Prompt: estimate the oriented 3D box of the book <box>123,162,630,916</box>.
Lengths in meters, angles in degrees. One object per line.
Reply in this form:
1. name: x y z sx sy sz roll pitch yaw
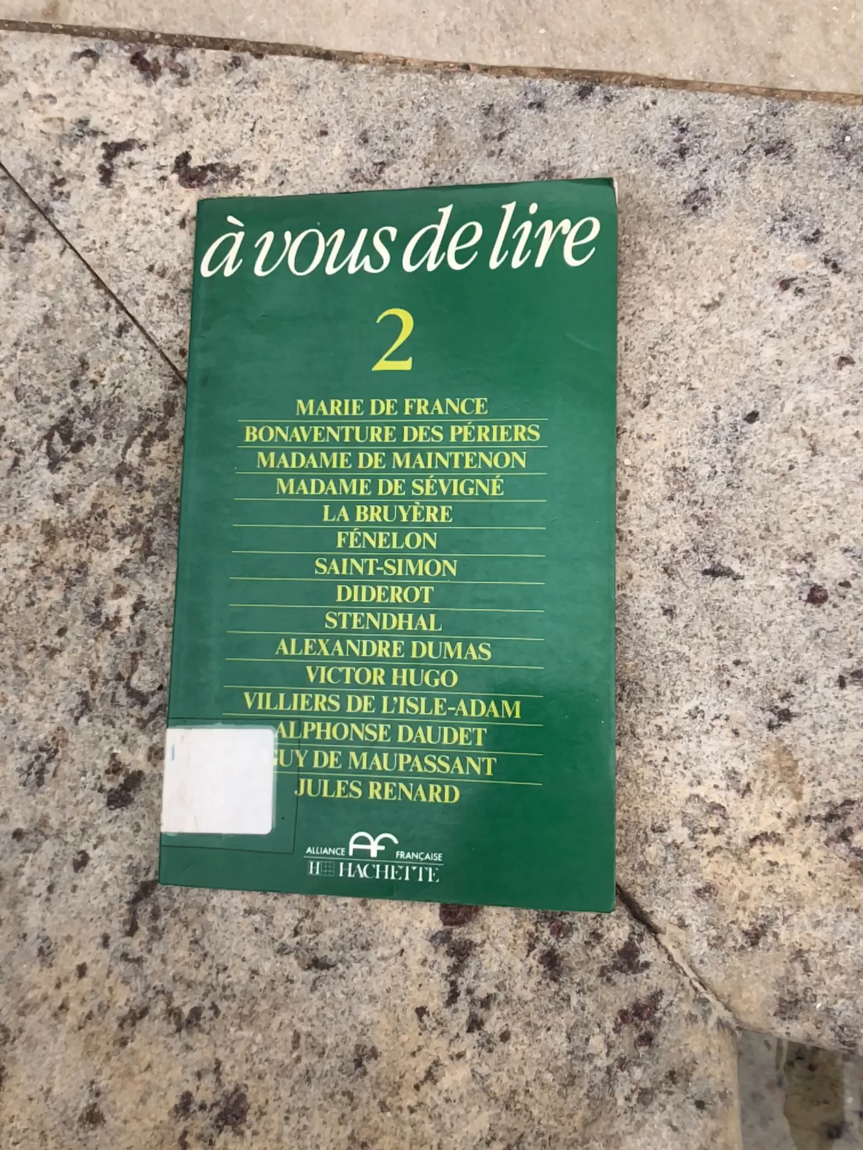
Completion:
1. book: -0.014 -0.015 0.283 0.140 0.017 0.210 0 82 10
